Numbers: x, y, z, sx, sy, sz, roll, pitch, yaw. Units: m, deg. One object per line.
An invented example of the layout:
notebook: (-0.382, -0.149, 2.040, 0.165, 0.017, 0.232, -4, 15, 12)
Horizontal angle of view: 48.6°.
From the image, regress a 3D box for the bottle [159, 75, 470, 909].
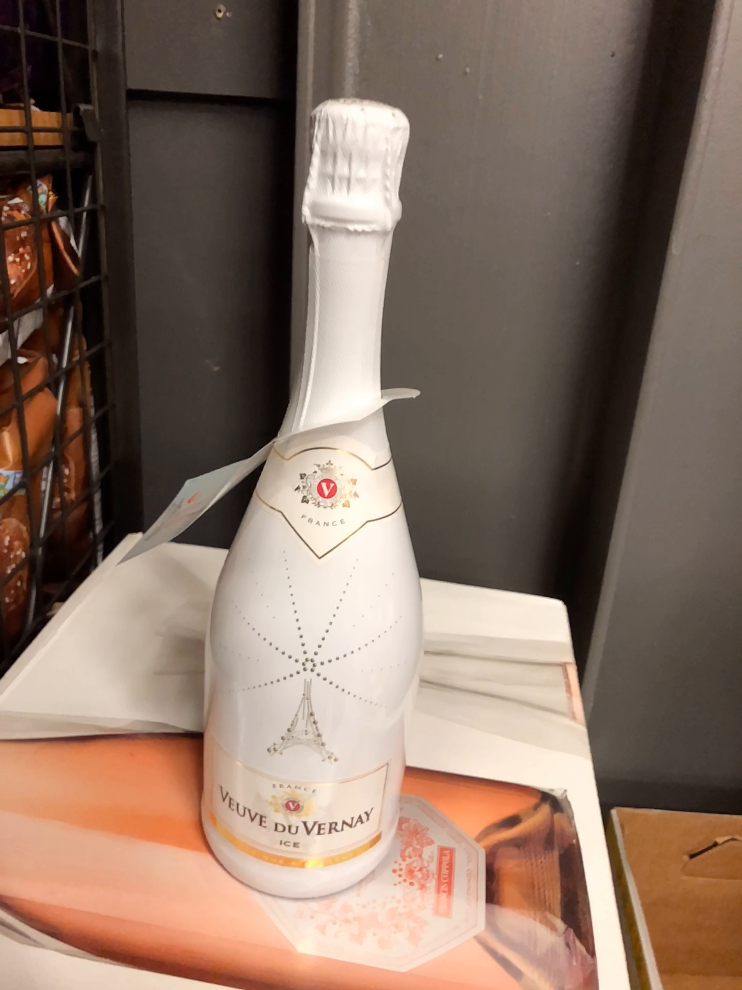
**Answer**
bottle: (-0.023, 0.011, 0.330, 0.086, 0.310, 0.094, 3, 23, -1)
